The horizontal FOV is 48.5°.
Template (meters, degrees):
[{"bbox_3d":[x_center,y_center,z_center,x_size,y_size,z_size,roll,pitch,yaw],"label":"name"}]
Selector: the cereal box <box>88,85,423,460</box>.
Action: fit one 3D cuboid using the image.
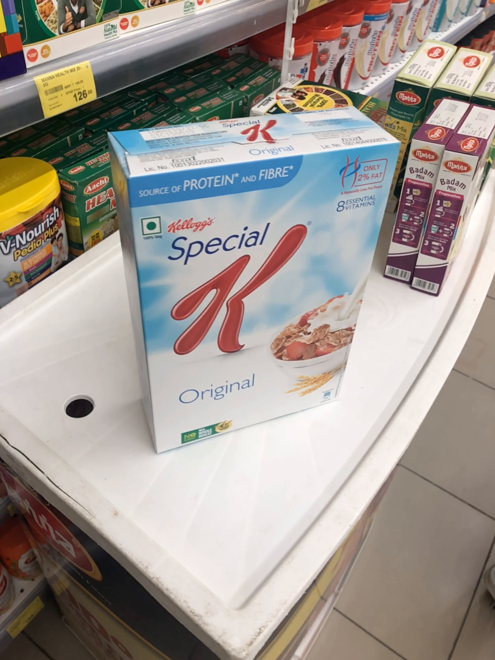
[{"bbox_3d":[0.000,-0.032,0.418,0.190,0.259,0.070,-14,45,-18],"label":"cereal box"}]
